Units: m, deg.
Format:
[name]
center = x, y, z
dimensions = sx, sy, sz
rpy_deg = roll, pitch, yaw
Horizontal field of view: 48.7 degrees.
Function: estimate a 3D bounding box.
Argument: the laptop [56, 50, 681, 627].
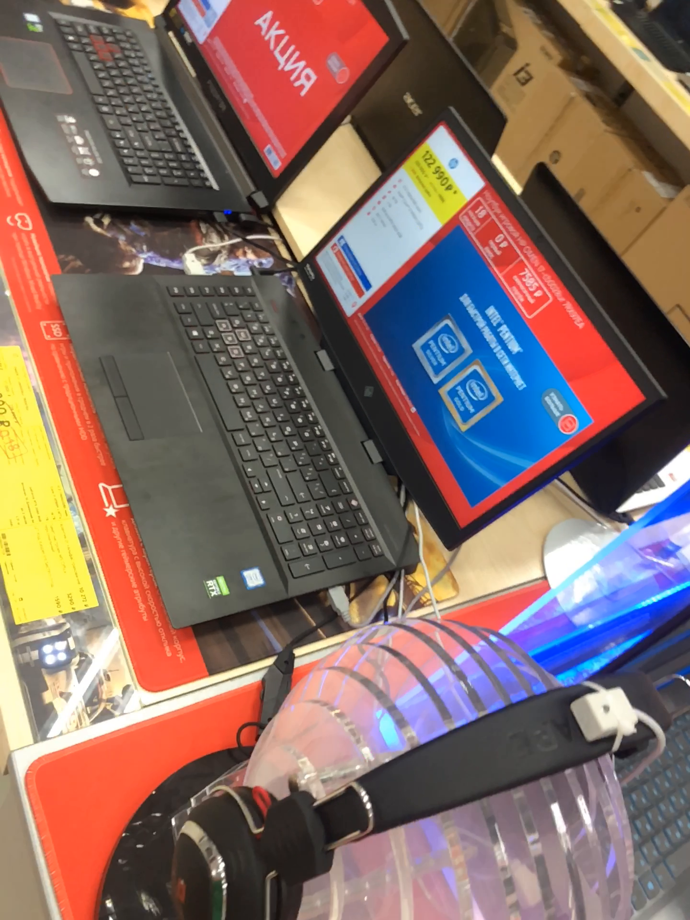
[laptop]
center = -0.005, -0.119, 0.708
dimensions = 0.376, 0.246, 0.392
rpy_deg = -8, 59, -34
